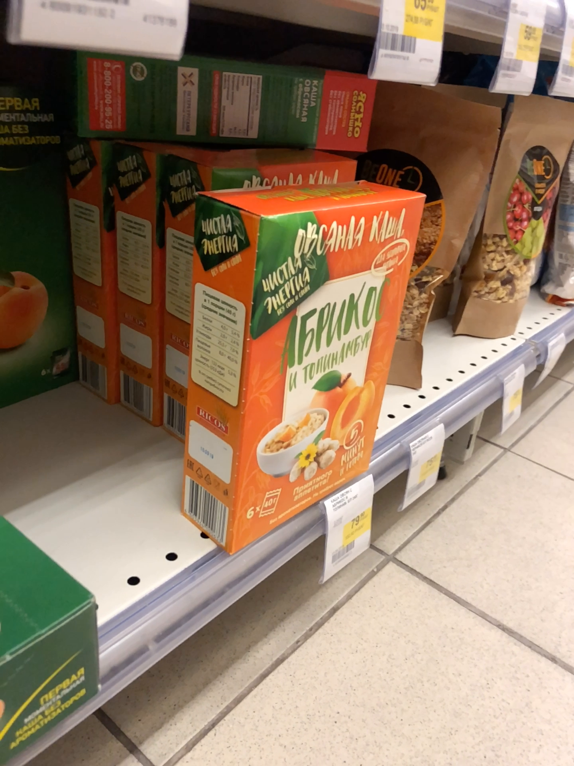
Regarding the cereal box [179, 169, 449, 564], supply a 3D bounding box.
[{"bbox_3d":[0.013,-0.015,0.359,0.050,0.189,0.140,28,34,35],"label":"cereal box"}]
